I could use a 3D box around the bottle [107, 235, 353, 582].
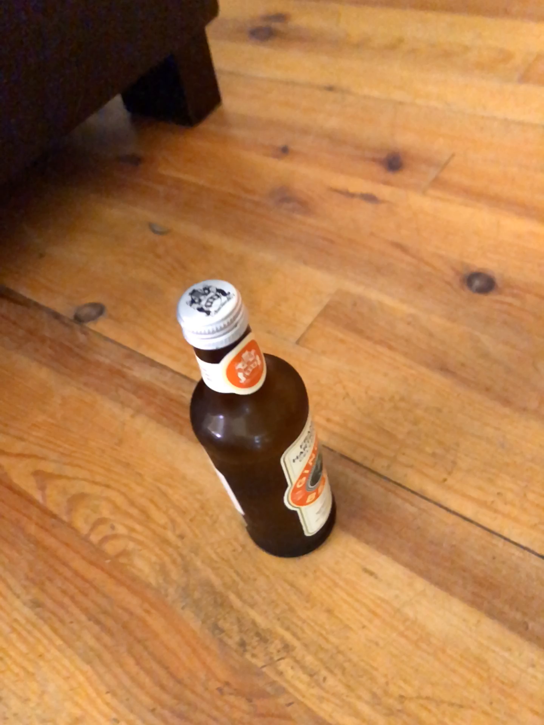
[{"bbox_3d":[-0.004,0.039,0.320,0.060,0.209,0.070,8,54,20],"label":"bottle"}]
